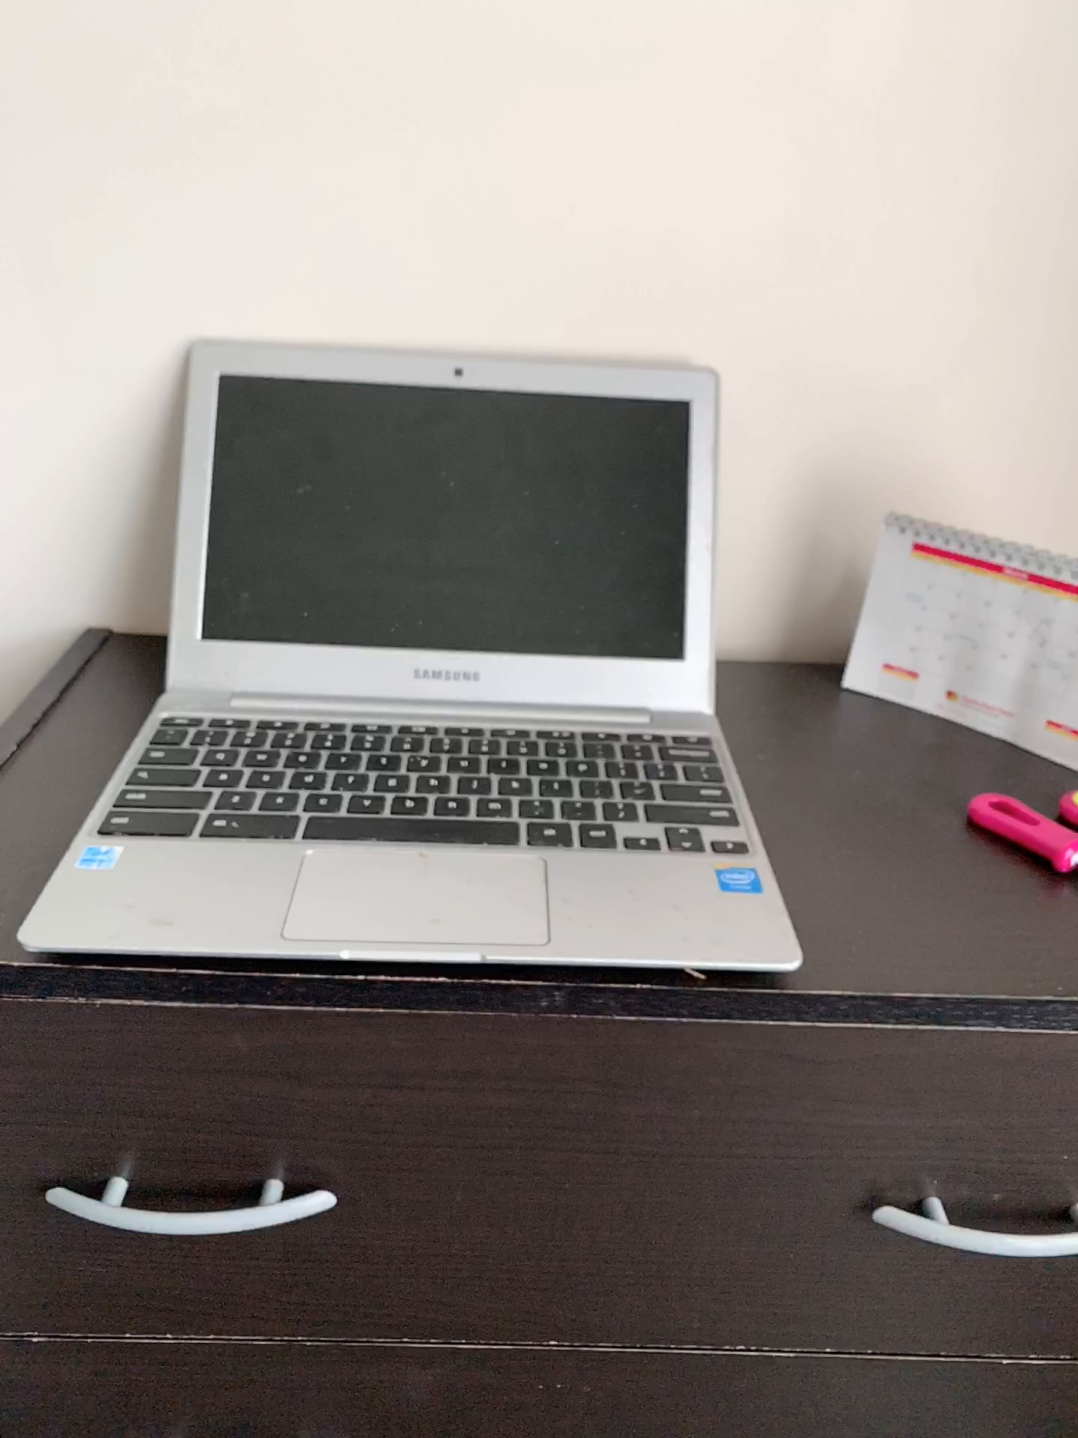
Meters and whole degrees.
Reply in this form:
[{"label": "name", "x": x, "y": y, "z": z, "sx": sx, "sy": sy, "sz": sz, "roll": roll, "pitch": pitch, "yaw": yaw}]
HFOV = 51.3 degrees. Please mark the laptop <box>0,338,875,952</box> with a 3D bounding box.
[{"label": "laptop", "x": -0.048, "y": -0.060, "z": 0.516, "sx": 0.291, "sy": 0.153, "sz": 0.319, "roll": 2, "pitch": 28, "yaw": -4}]
